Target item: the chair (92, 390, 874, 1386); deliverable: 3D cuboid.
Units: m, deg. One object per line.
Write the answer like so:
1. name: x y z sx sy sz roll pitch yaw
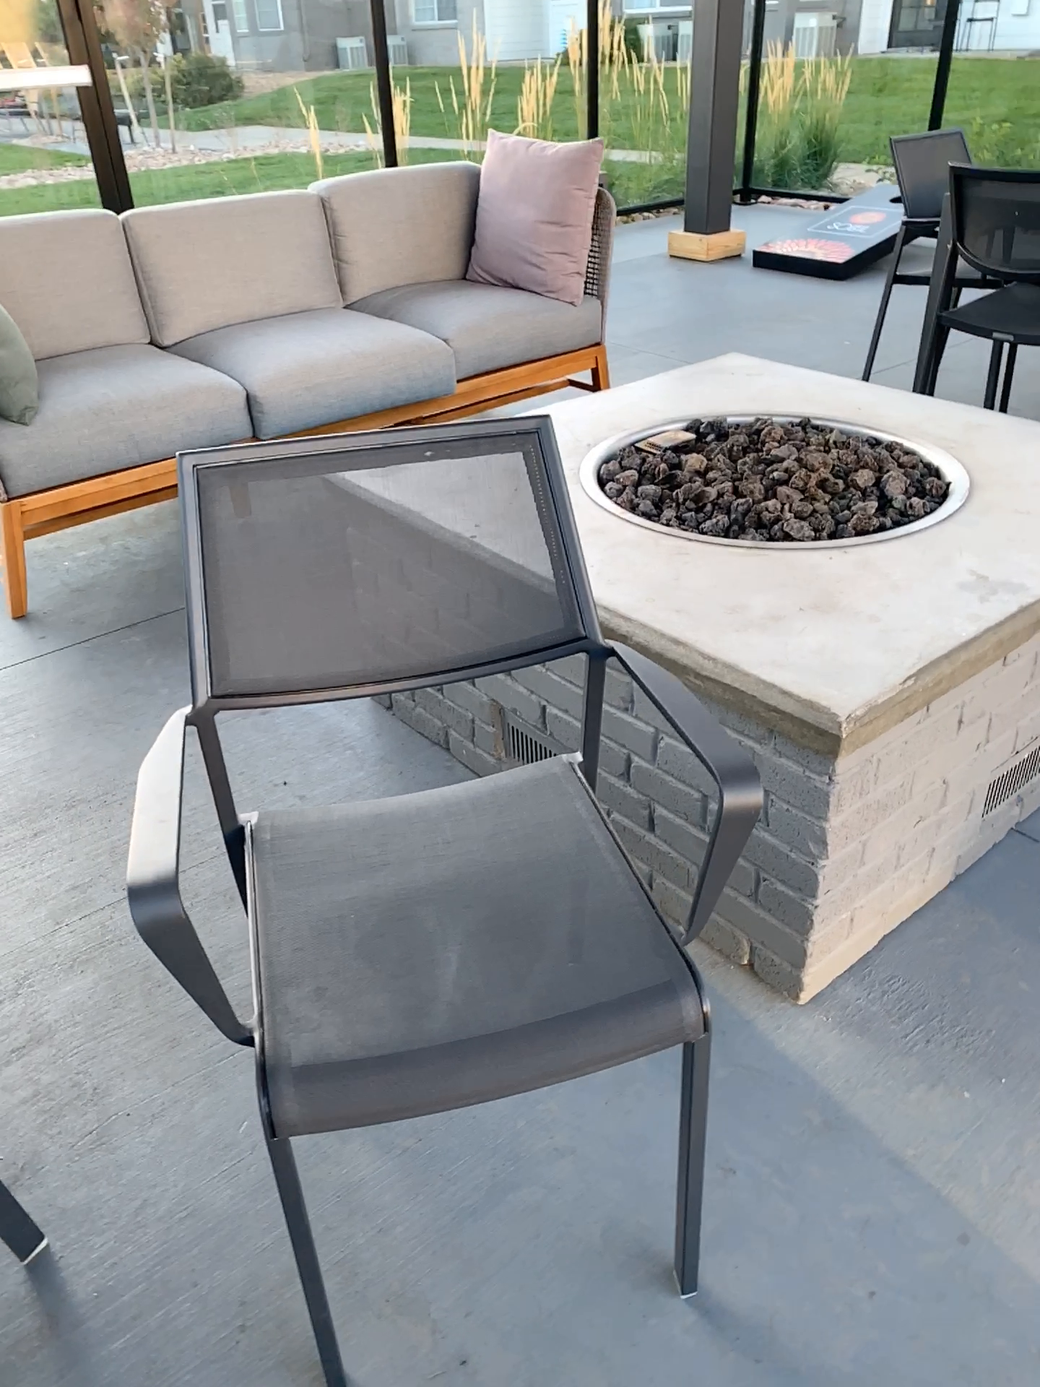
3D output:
1. chair: -0.067 0.187 1.134 0.510 0.806 0.613 -10 32 -12
